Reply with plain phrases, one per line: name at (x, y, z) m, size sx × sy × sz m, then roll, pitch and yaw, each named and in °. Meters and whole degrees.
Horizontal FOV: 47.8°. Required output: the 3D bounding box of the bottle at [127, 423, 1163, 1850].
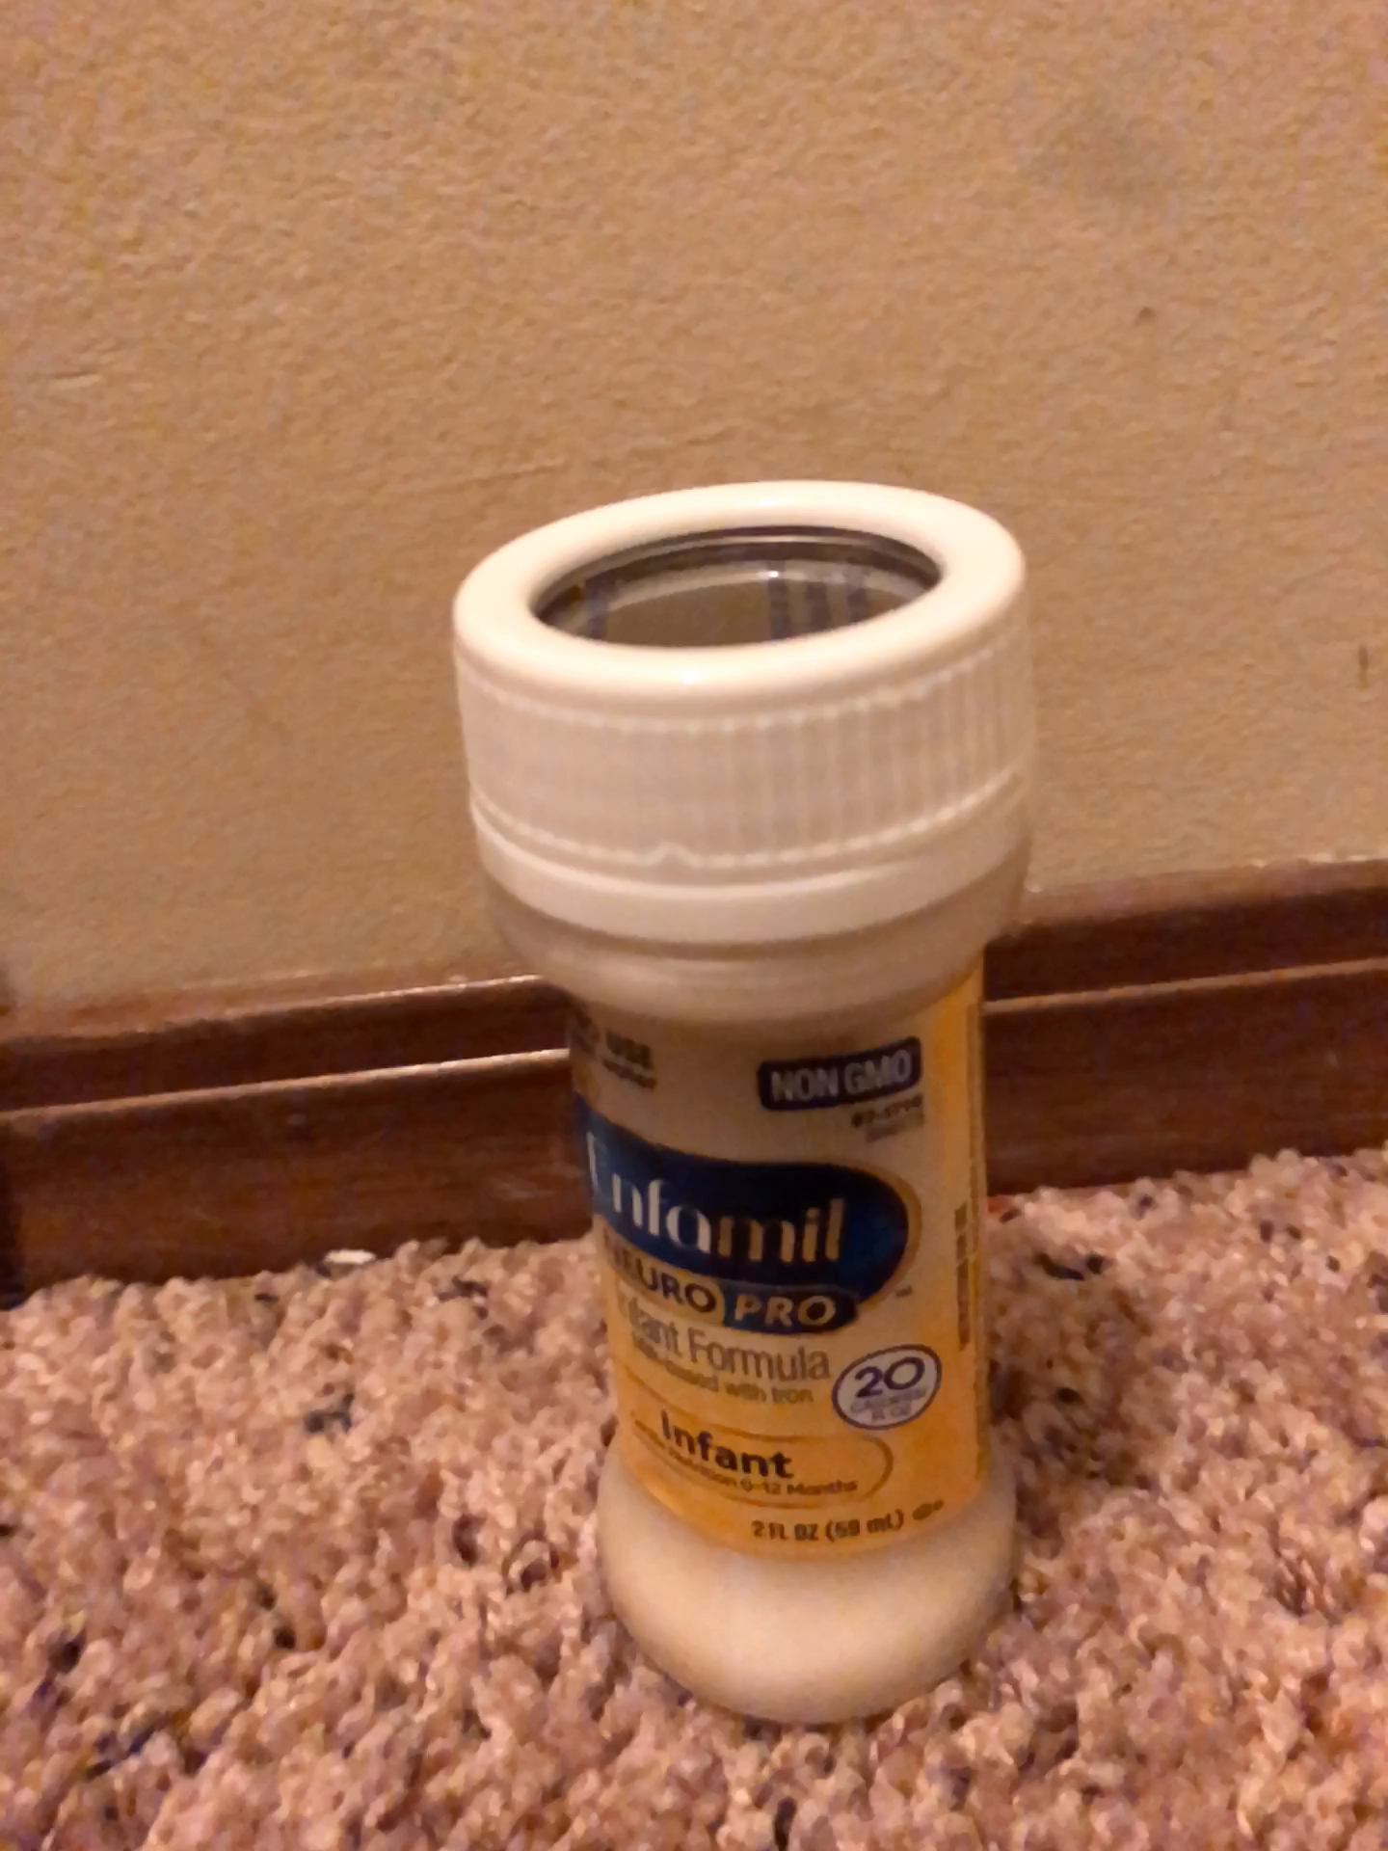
bottle at (0.005, 0.021, 0.133) m, size 0.050 × 0.110 × 0.050 m, roll -6°, pitch 33°, yaw 4°
